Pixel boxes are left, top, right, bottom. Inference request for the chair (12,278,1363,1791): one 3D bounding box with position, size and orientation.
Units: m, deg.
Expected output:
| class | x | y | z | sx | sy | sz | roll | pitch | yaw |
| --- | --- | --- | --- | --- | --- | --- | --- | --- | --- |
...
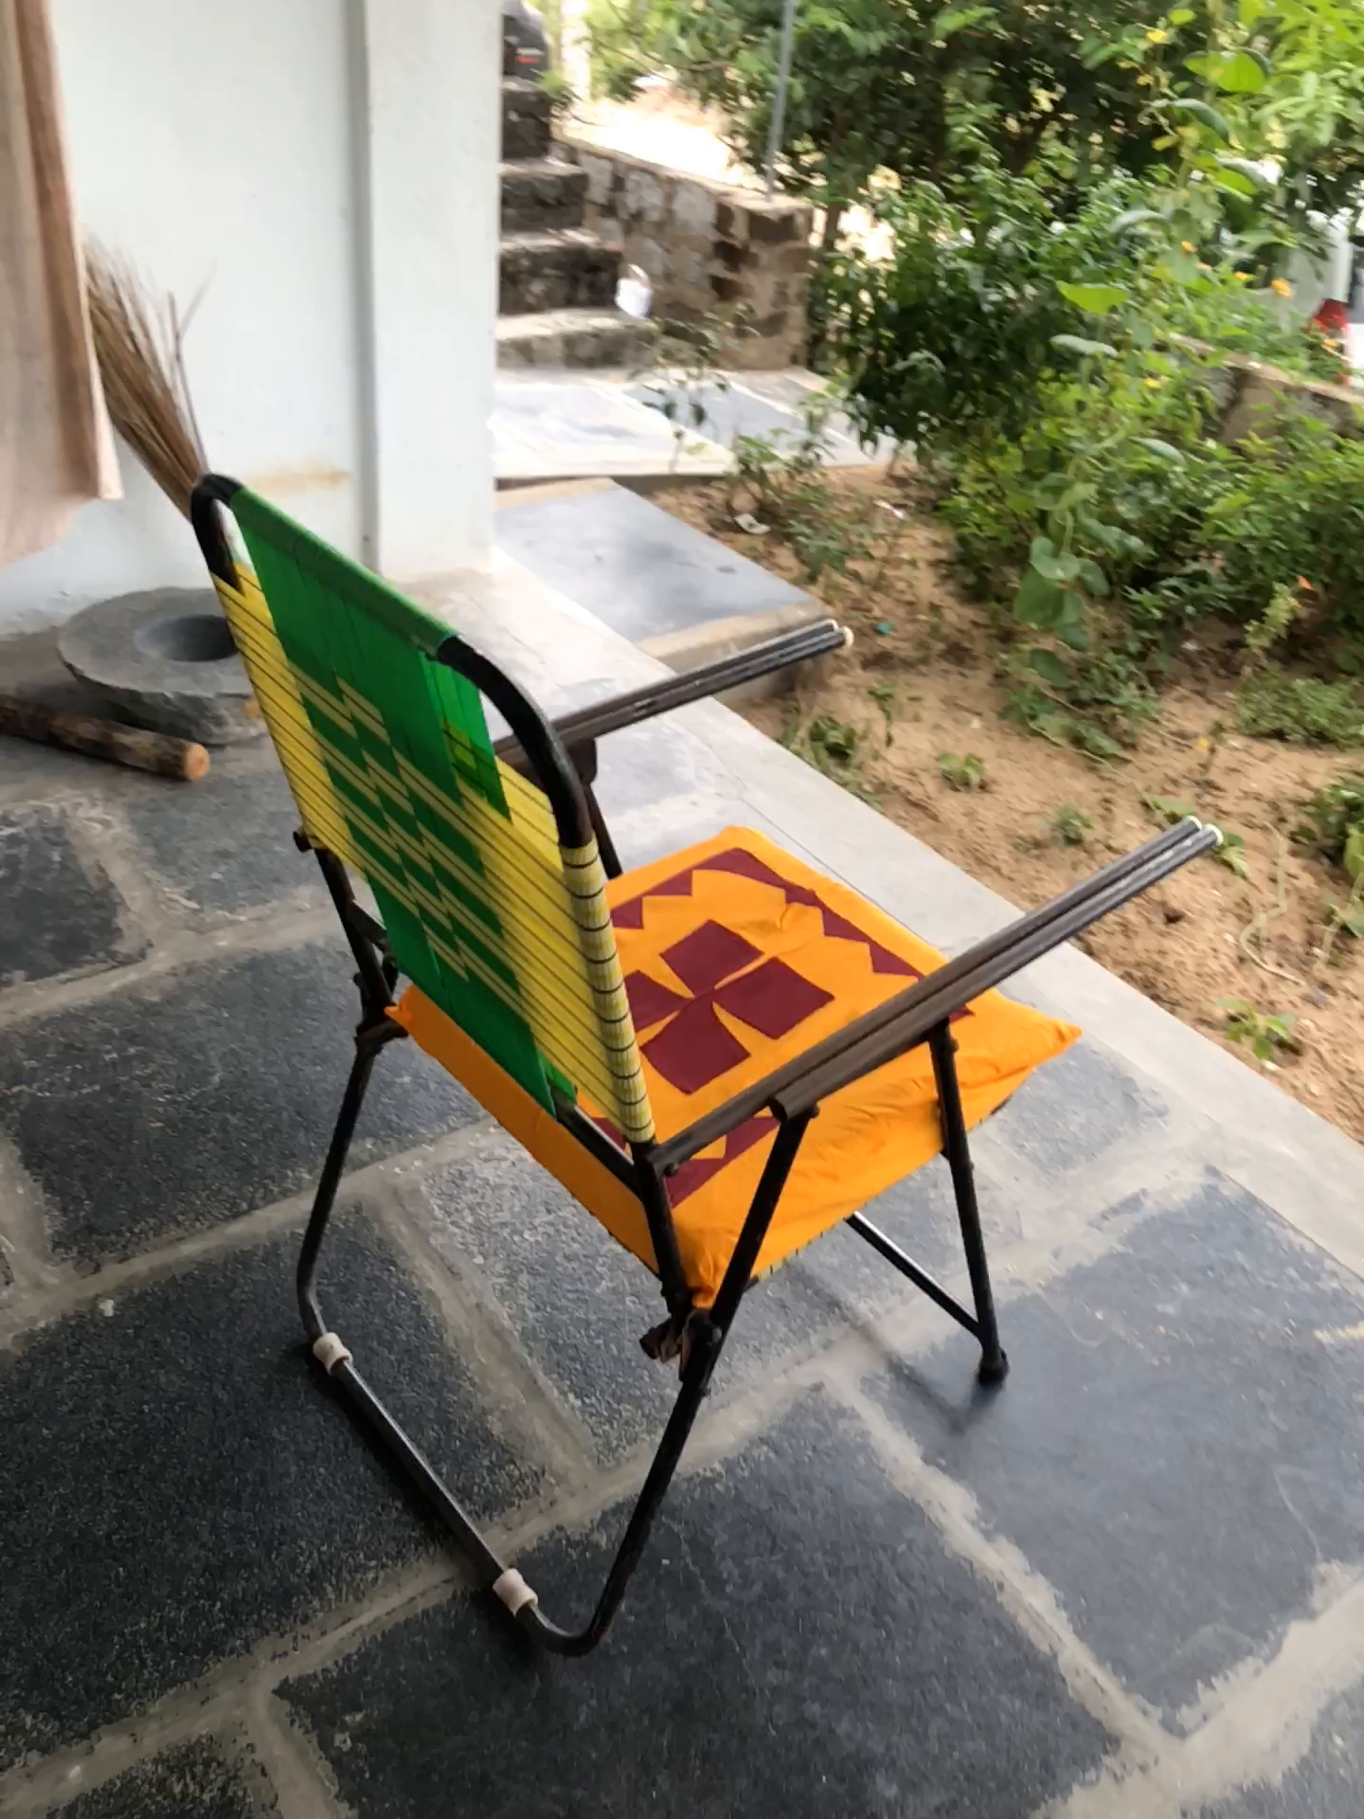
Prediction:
| class | x | y | z | sx | sy | sz | roll | pitch | yaw |
| --- | --- | --- | --- | --- | --- | --- | --- | --- | --- |
| chair | -0.007 | 0.022 | 1.224 | 0.683 | 0.825 | 0.661 | -23 | 43 | -35 |
